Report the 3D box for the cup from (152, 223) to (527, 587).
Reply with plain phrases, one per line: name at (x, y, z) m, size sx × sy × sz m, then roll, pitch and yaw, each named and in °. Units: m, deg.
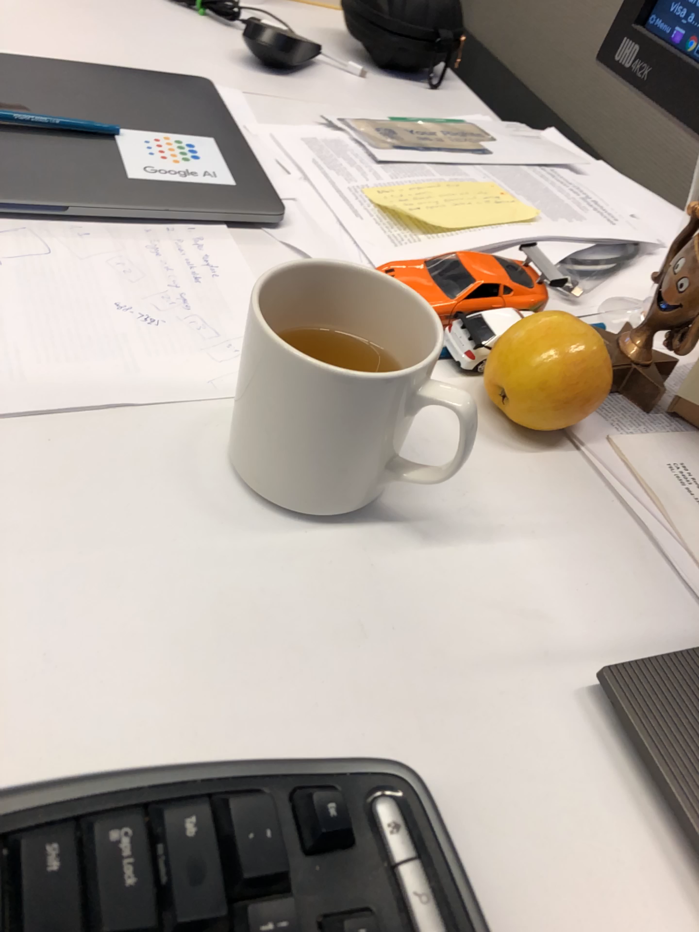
cup at (-0.007, -0.029, 0.322) m, size 0.120 × 0.080 × 0.080 m, roll 28°, pitch 43°, yaw 11°
